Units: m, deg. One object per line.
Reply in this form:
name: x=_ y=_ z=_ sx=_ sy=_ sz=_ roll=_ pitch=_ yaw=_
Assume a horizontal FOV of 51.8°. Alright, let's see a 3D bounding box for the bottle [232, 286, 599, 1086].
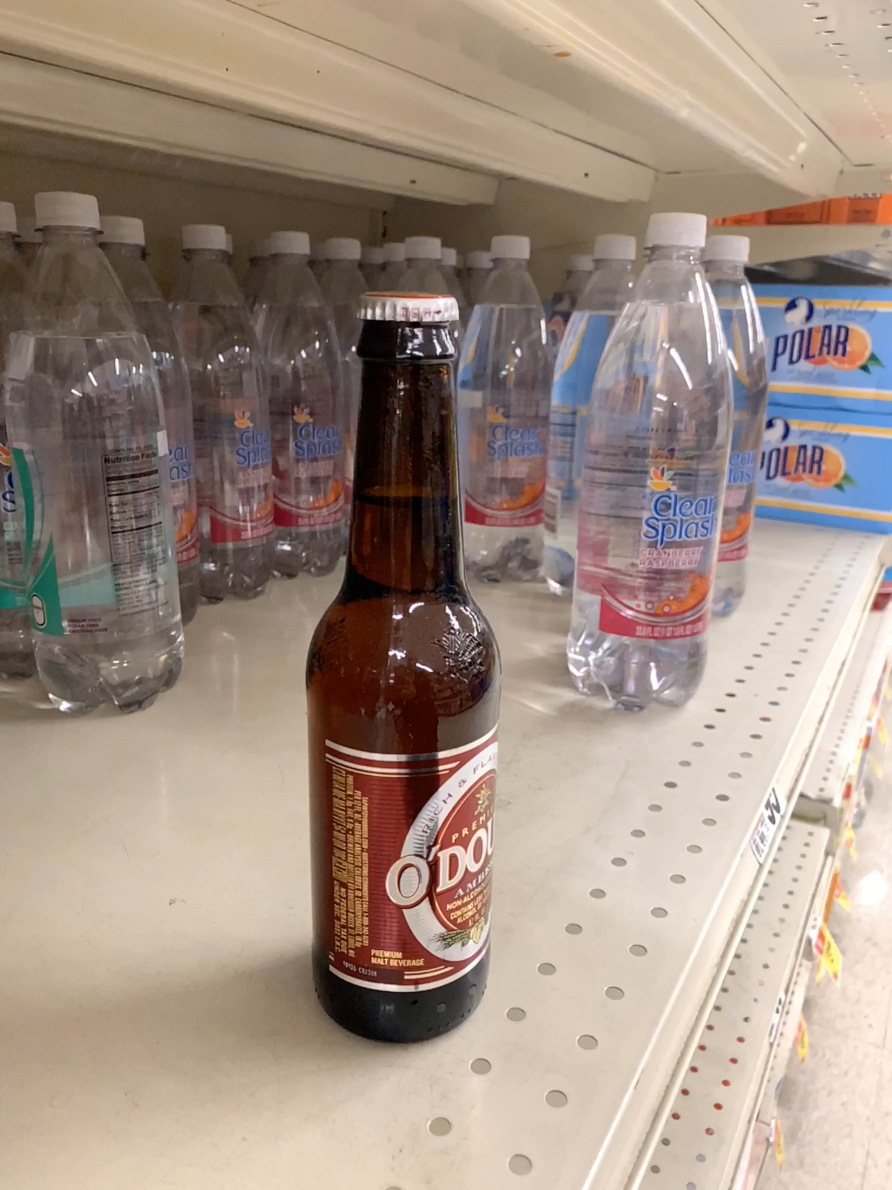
bottle: x=-0.011 y=0.023 z=0.281 sx=0.070 sy=0.219 sz=0.070 roll=2 pitch=18 yaw=-1
